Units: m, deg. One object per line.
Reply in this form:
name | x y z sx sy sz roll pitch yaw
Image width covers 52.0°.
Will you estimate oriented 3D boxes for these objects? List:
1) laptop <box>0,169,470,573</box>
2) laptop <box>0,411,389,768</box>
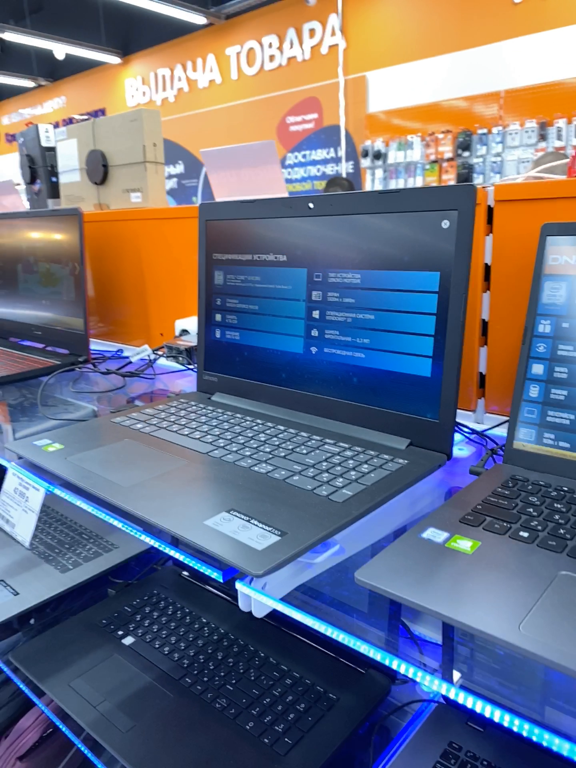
laptop | -0.069 -0.057 0.577 0.378 0.245 0.289 11 19 40
laptop | -0.124 0.220 0.699 0.401 0.263 0.271 10 16 38
